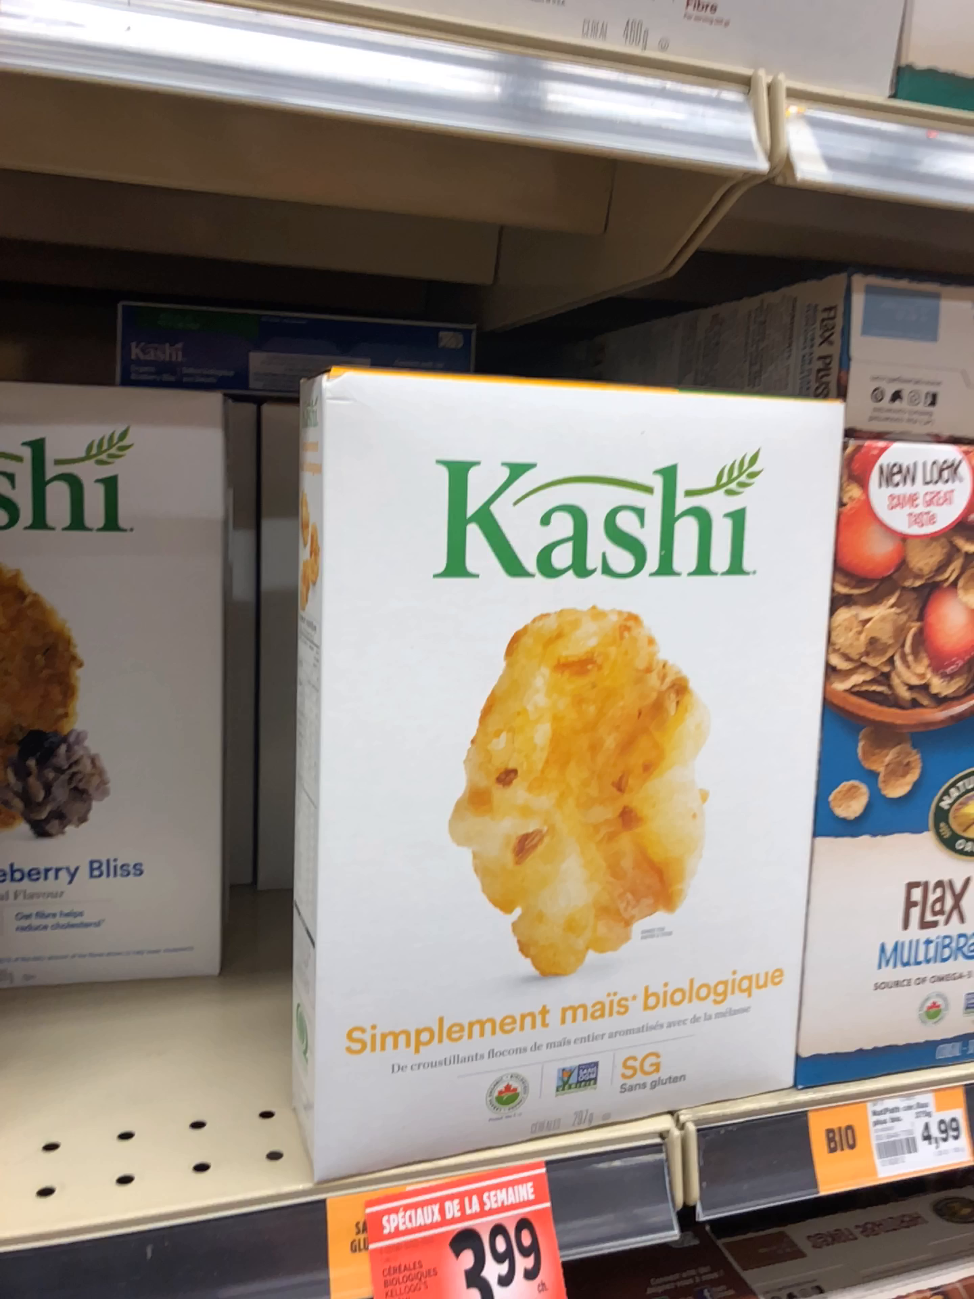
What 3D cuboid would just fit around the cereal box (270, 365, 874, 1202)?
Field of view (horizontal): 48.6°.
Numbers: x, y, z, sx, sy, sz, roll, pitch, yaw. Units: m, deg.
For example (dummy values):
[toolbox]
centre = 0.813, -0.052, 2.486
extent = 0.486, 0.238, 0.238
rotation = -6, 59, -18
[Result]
[cereal box]
centre = 0.027, 0.042, 0.396
extent = 0.200, 0.269, 0.060
rotation = -1, 10, -20
